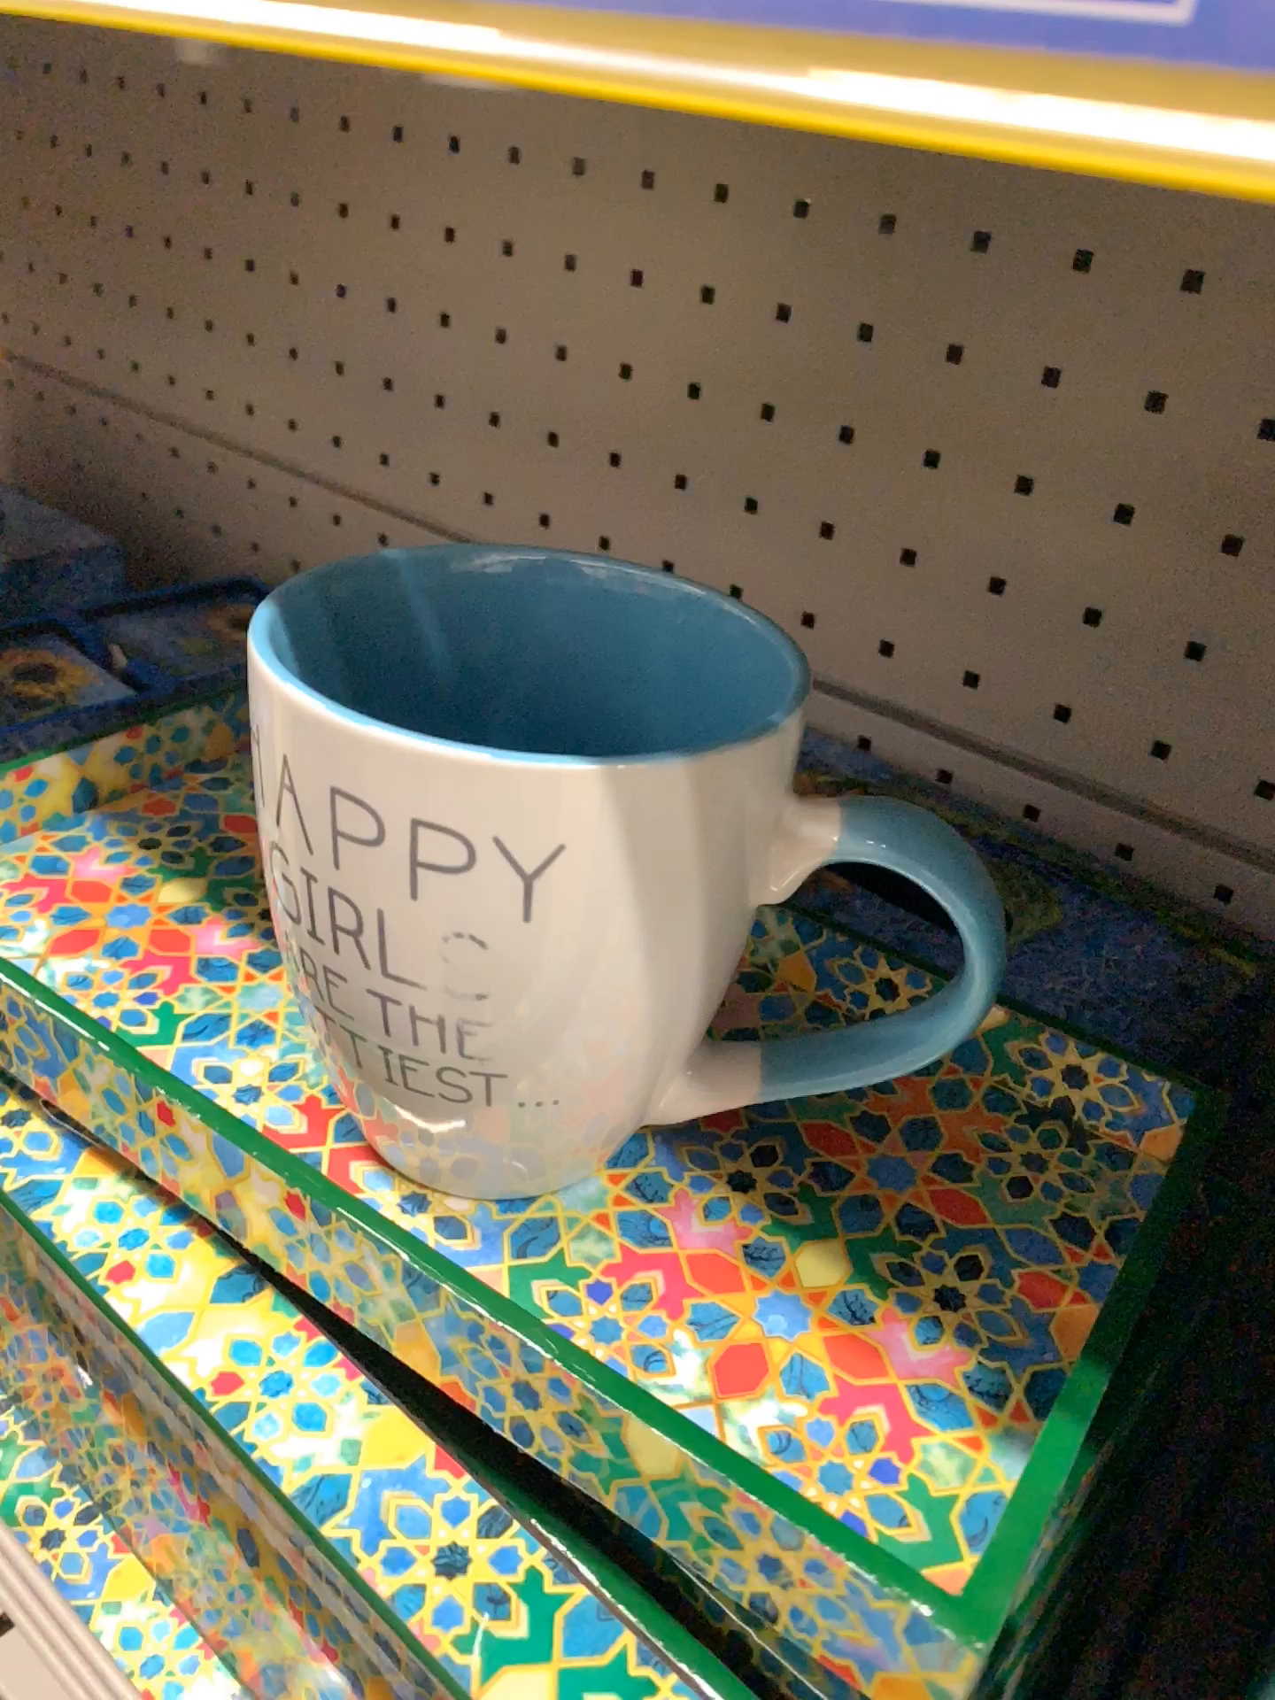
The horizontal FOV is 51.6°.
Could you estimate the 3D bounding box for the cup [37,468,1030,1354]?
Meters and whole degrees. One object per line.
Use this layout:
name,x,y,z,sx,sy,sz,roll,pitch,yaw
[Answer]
cup,-0.013,-0.003,0.268,0.150,0.100,0.120,15,29,13
